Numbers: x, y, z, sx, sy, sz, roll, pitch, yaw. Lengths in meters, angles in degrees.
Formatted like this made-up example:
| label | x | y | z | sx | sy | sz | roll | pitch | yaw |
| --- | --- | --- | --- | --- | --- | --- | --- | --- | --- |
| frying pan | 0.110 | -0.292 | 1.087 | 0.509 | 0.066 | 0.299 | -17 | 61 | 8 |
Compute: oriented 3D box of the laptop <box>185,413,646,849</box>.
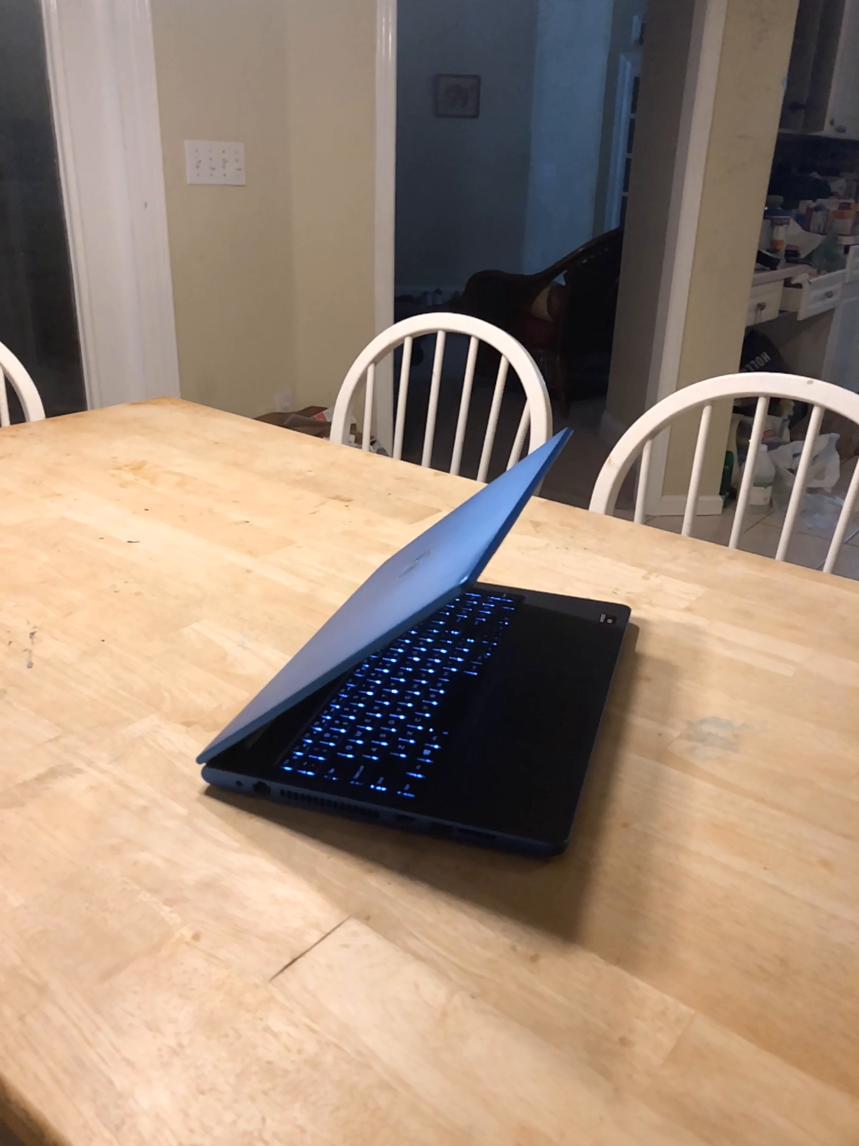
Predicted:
| label | x | y | z | sx | sy | sz | roll | pitch | yaw |
| --- | --- | --- | --- | --- | --- | --- | --- | --- | --- |
| laptop | 0.020 | 0.009 | 0.734 | 0.248 | 0.160 | 0.363 | 9 | 24 | 14 |
